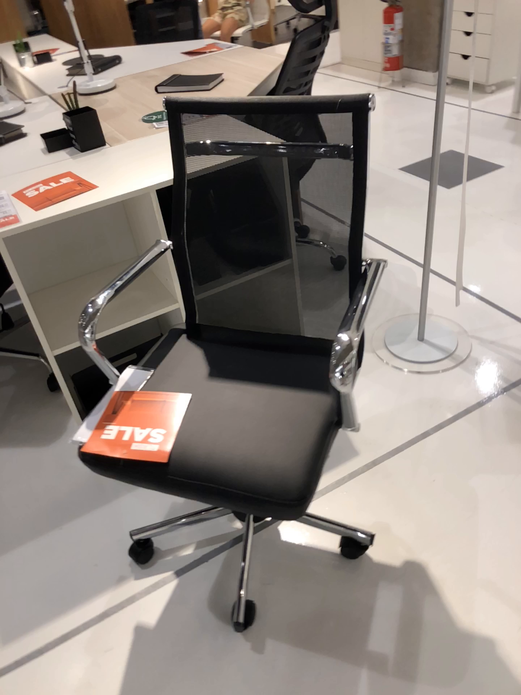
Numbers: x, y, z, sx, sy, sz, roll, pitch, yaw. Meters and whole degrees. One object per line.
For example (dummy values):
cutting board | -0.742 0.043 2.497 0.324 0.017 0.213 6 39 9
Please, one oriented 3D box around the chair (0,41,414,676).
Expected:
chair | -0.063 0.026 1.147 0.611 0.992 0.624 6 39 20
